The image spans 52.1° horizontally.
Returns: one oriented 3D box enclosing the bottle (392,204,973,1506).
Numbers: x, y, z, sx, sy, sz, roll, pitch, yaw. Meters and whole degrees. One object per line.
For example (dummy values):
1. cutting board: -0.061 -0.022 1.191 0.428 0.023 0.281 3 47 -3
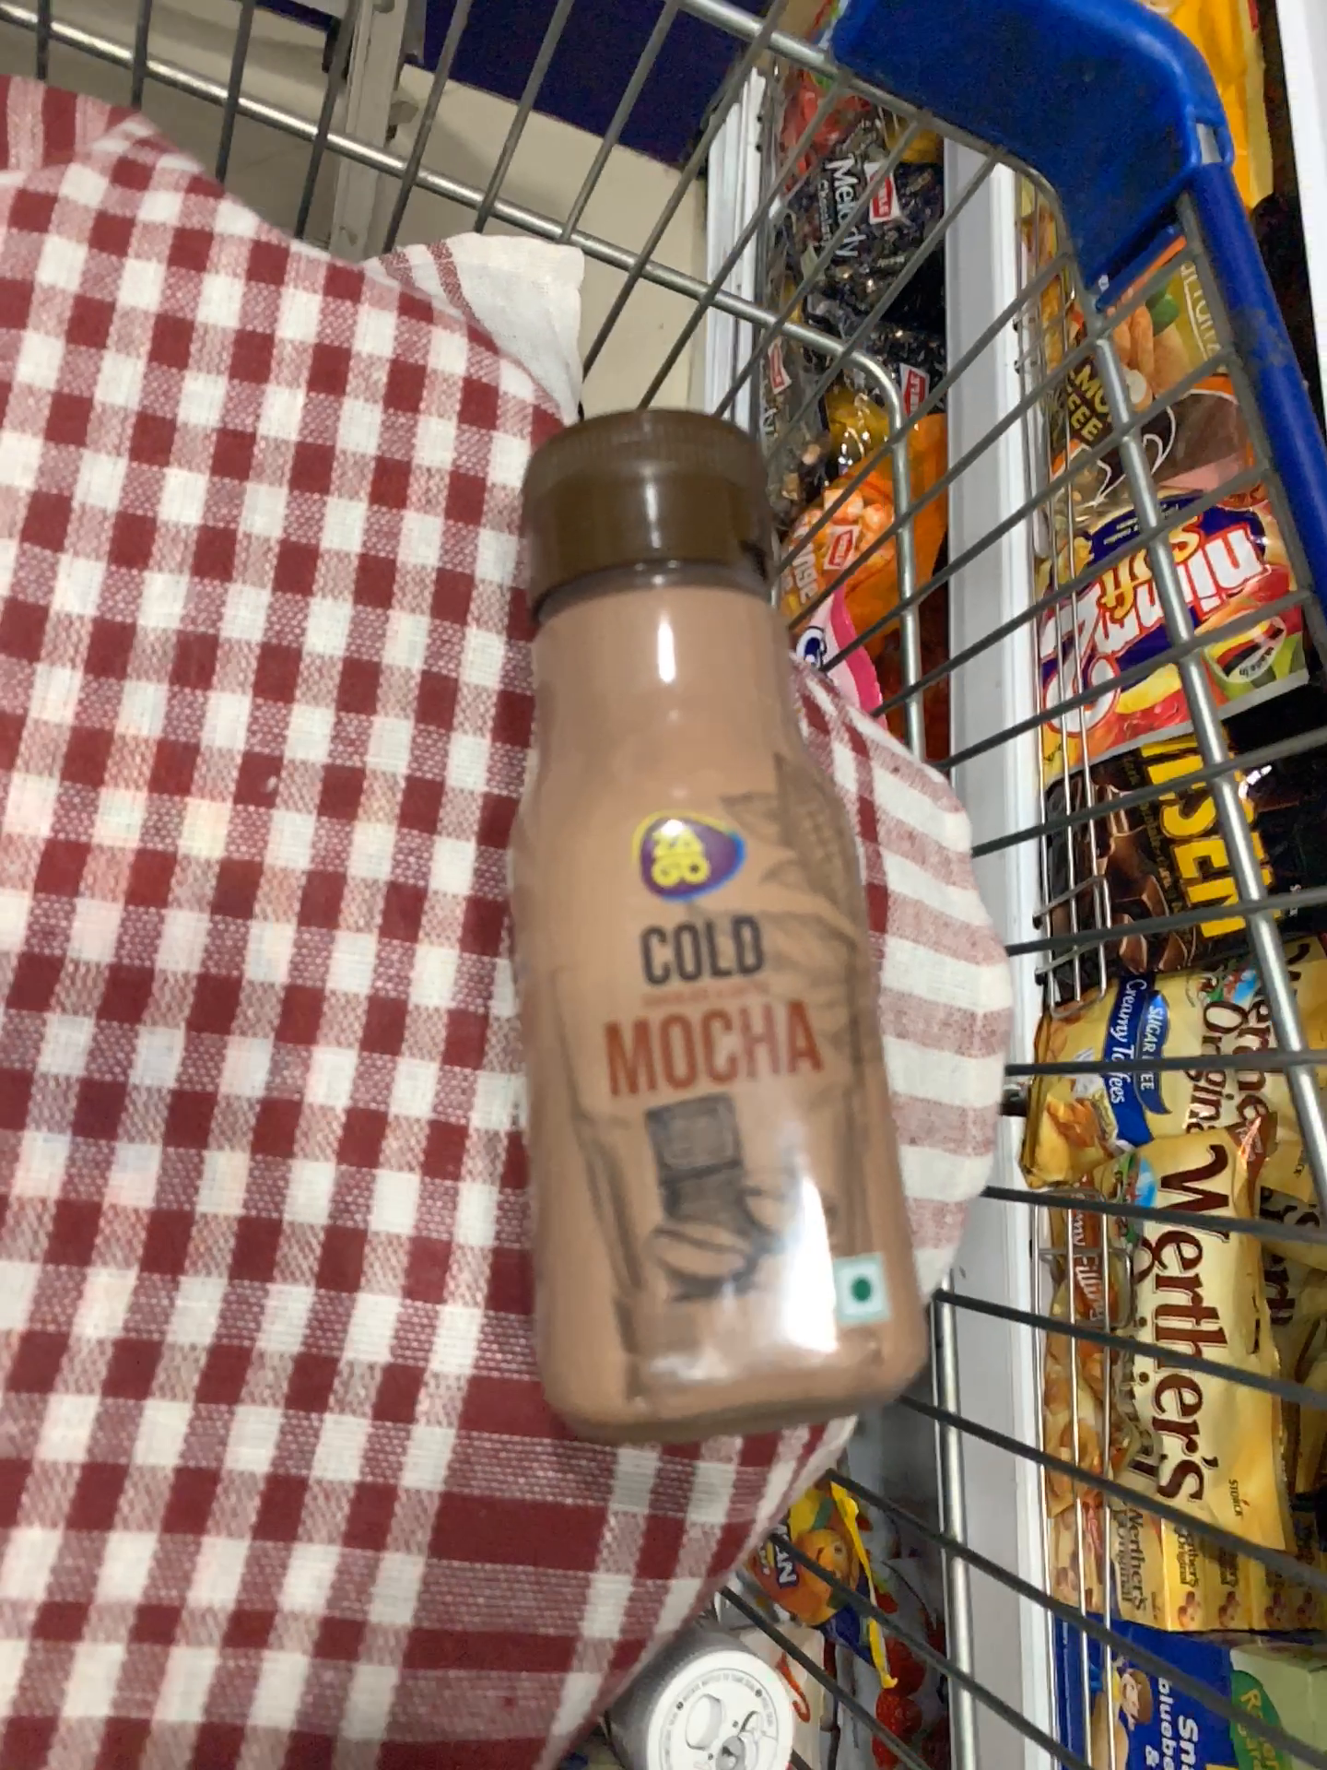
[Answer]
1. bottle: -0.004 -0.007 0.213 0.060 0.070 0.170 -5 82 -9
